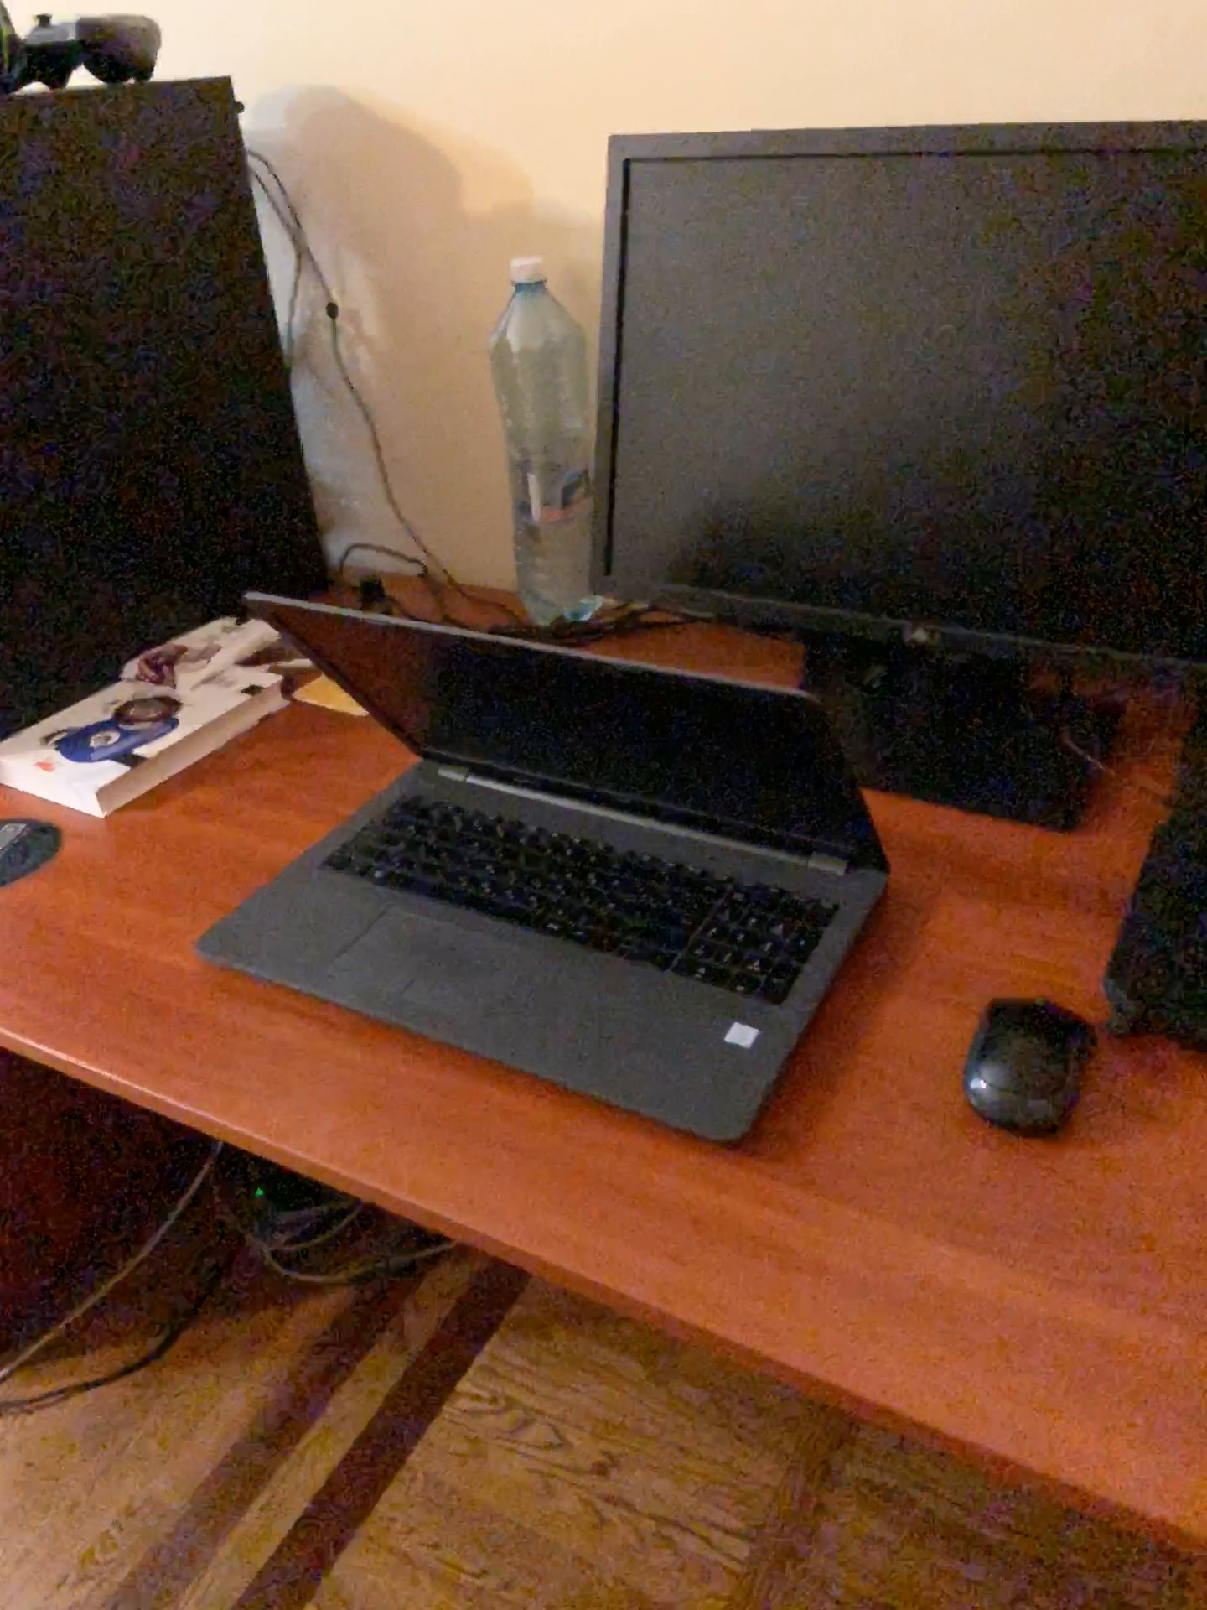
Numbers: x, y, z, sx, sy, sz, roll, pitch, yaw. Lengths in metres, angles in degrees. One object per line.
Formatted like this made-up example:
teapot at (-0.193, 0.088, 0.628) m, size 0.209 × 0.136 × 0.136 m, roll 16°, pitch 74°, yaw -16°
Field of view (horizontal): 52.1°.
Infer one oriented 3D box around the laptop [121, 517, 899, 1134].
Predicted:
laptop at (-0.044, -0.017, 0.717) m, size 0.360 × 0.192 × 0.232 m, roll 13°, pitch 36°, yaw 27°
